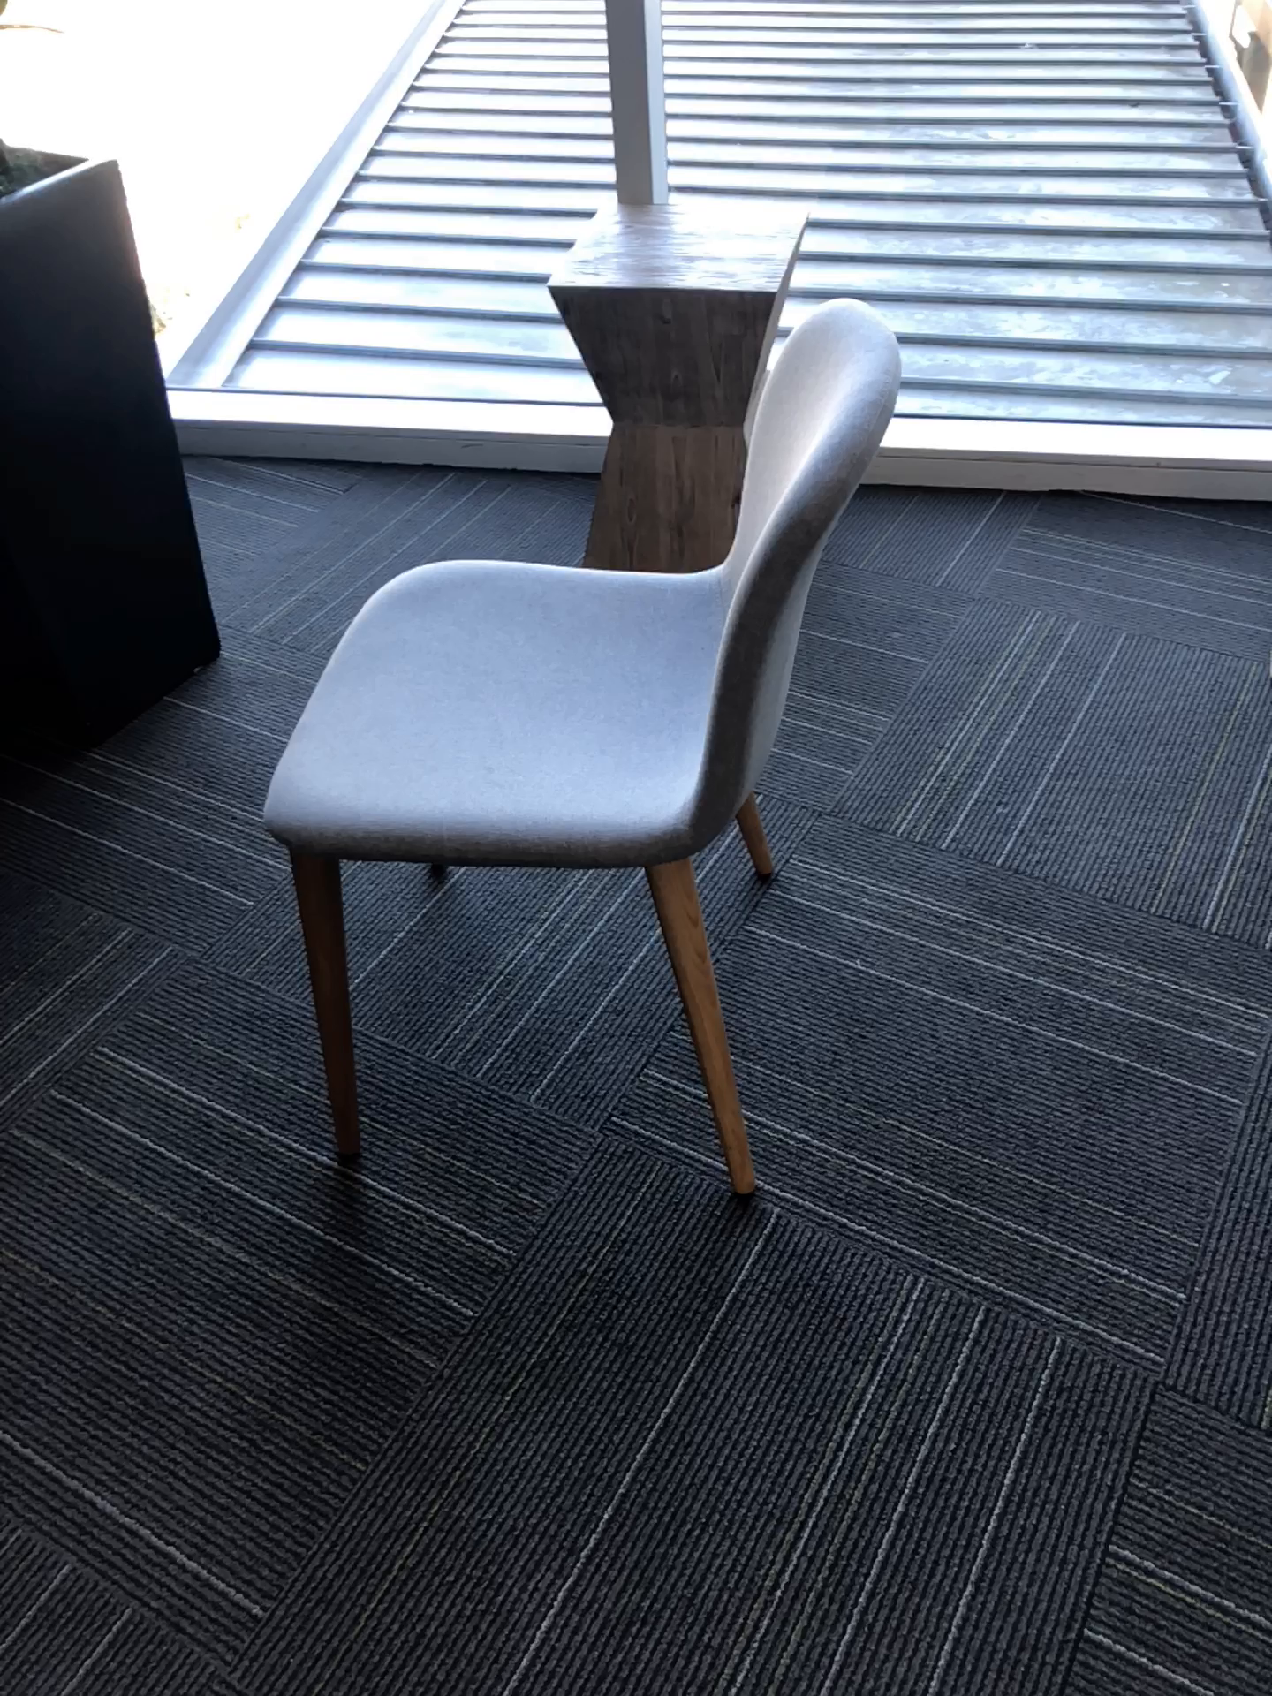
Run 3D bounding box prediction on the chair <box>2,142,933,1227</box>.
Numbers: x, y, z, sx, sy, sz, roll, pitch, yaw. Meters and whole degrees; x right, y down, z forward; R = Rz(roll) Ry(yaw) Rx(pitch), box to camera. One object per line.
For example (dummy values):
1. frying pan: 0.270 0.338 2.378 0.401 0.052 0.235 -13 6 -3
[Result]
1. chair: -0.077 -0.149 1.382 0.610 0.846 0.563 6 41 7
